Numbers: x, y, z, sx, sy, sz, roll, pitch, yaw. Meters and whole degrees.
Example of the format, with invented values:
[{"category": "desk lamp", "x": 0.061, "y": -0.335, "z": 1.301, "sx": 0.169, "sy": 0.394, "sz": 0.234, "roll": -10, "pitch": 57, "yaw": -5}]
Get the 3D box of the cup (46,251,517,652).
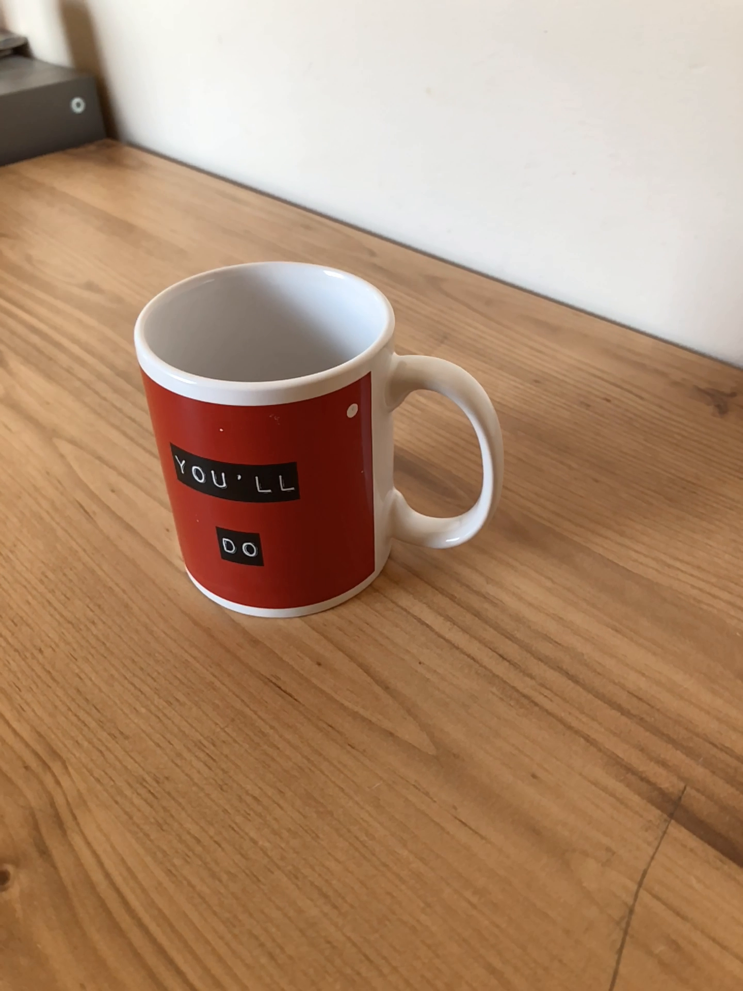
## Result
[{"category": "cup", "x": -0.020, "y": -0.020, "z": 0.282, "sx": 0.123, "sy": 0.086, "sz": 0.091, "roll": 7, "pitch": 39, "yaw": 11}]
